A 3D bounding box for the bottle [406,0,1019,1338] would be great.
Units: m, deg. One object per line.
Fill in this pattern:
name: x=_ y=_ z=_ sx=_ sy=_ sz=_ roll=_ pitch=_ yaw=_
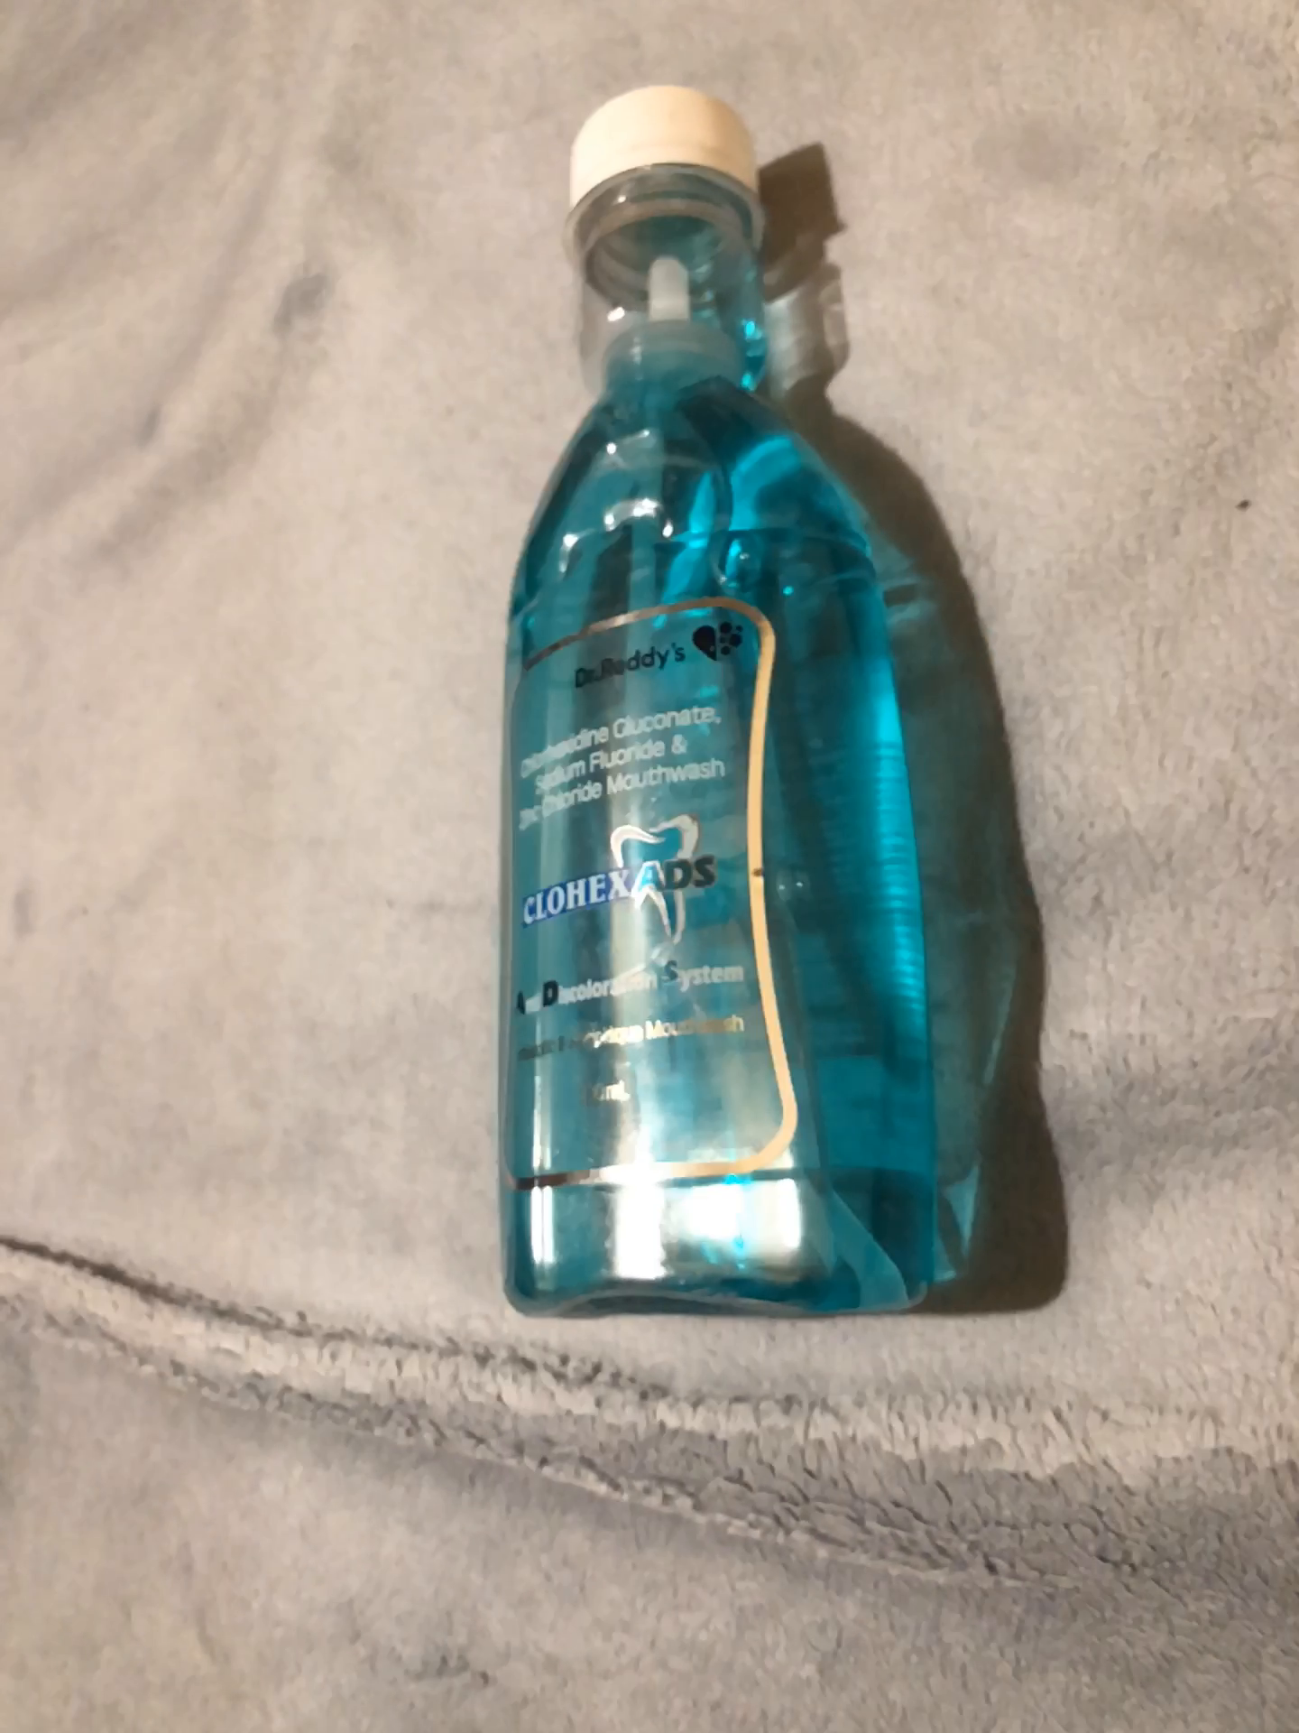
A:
bottle: x=0.003 y=-0.040 z=0.224 sx=0.070 sy=0.040 sz=0.210 roll=-13 pitch=71 yaw=33
